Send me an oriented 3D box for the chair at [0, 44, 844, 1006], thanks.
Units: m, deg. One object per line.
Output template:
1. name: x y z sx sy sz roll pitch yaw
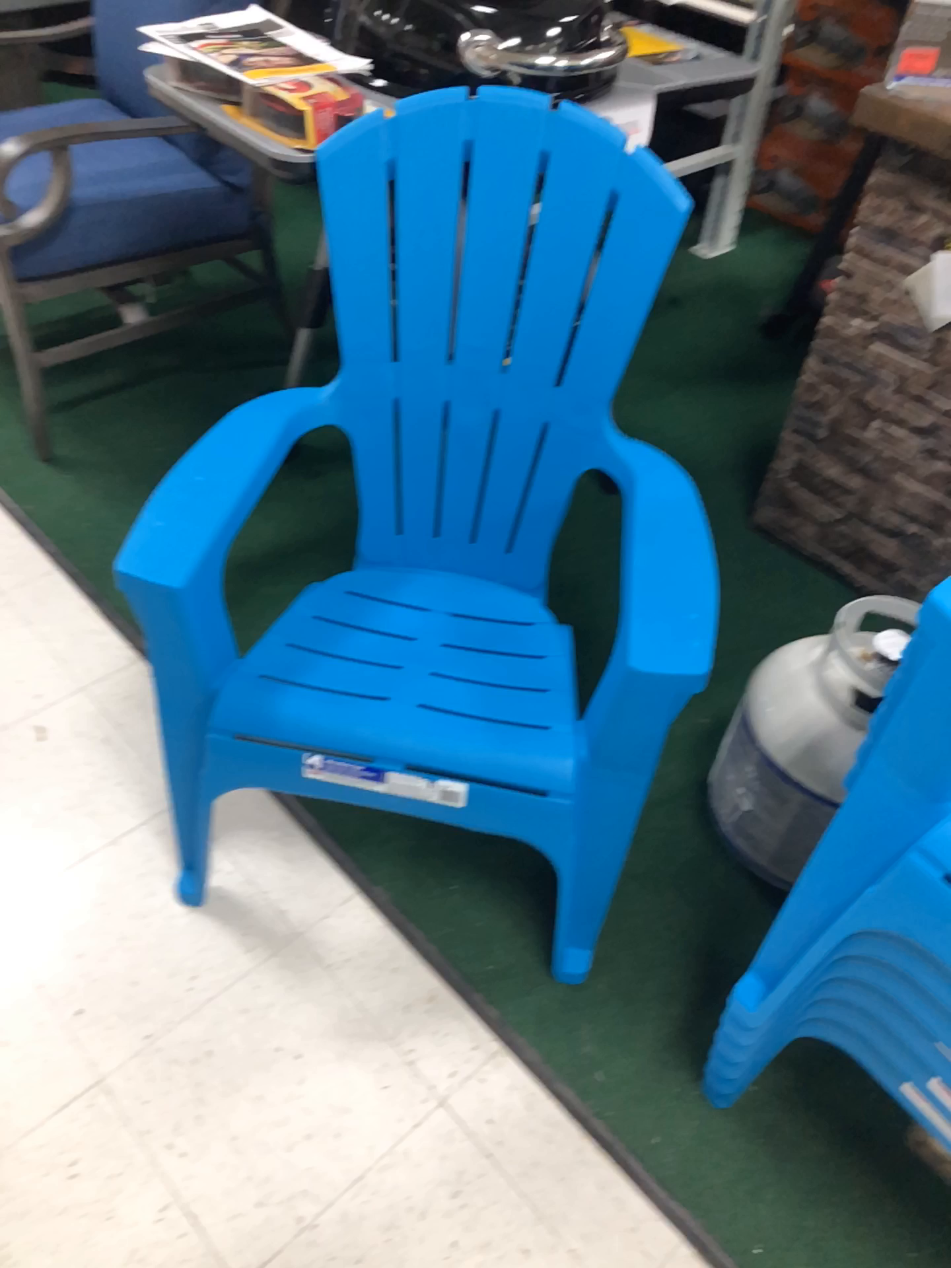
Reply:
1. chair: -0.042 -0.109 1.345 0.681 0.932 0.650 10 44 4
